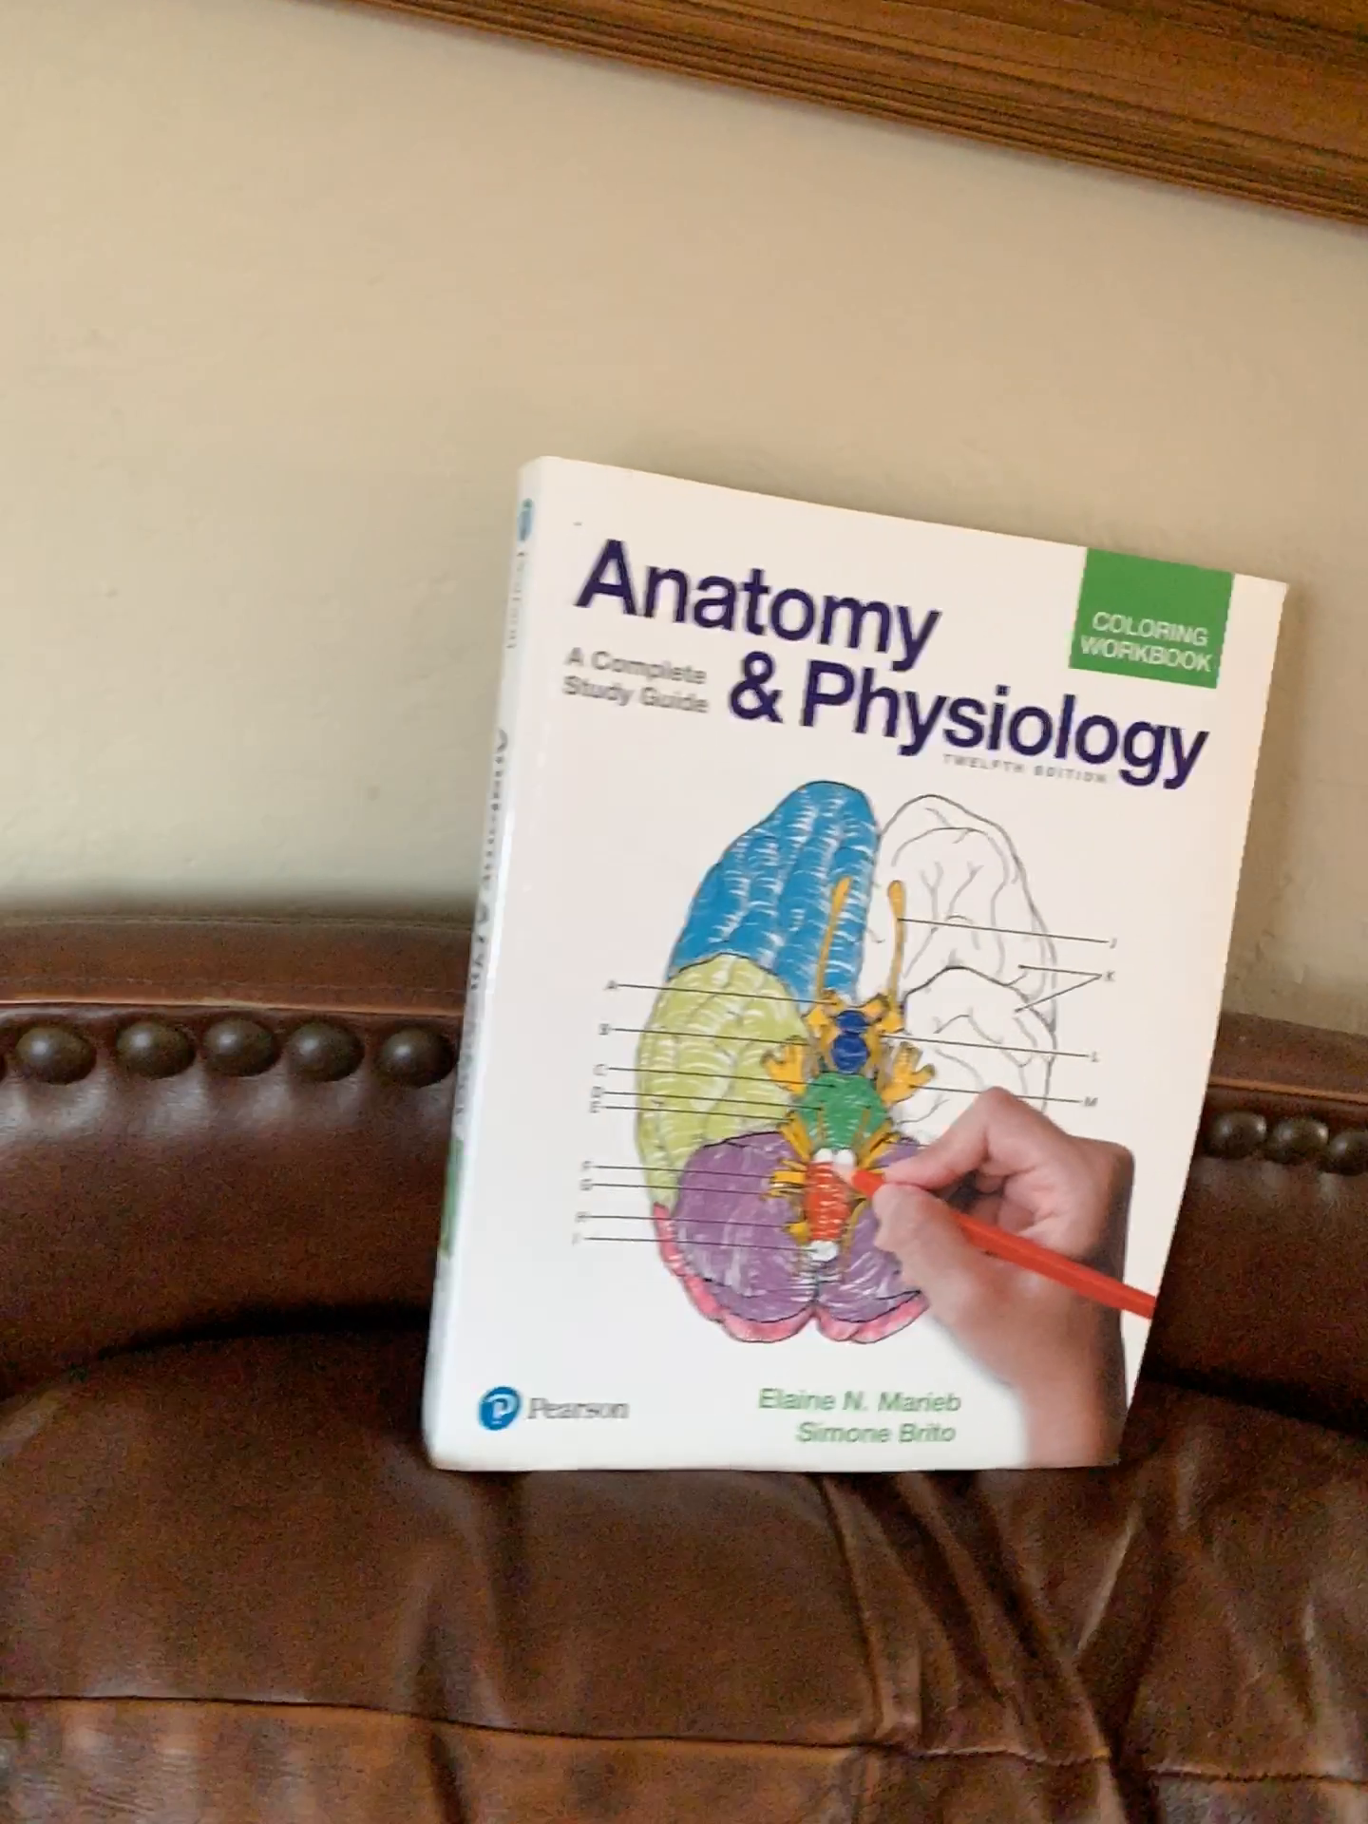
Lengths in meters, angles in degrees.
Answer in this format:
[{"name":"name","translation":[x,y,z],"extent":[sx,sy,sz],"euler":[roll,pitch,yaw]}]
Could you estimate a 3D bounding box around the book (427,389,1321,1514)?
[{"name":"book","translation":[0.048,0.020,0.411],"extent":[0.220,0.290,0.060],"euler":[4,7,-13]}]
